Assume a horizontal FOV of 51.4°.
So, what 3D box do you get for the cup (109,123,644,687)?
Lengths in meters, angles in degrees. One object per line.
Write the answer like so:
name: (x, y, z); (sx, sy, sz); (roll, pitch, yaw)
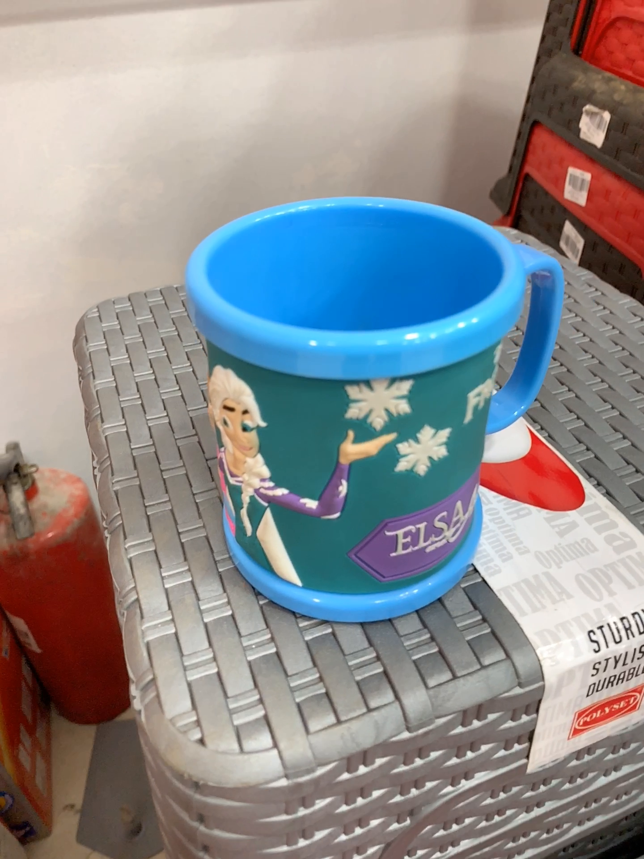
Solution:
cup: (0.019, -0.015, 0.189); (0.110, 0.099, 0.080); (-26, 44, -26)
